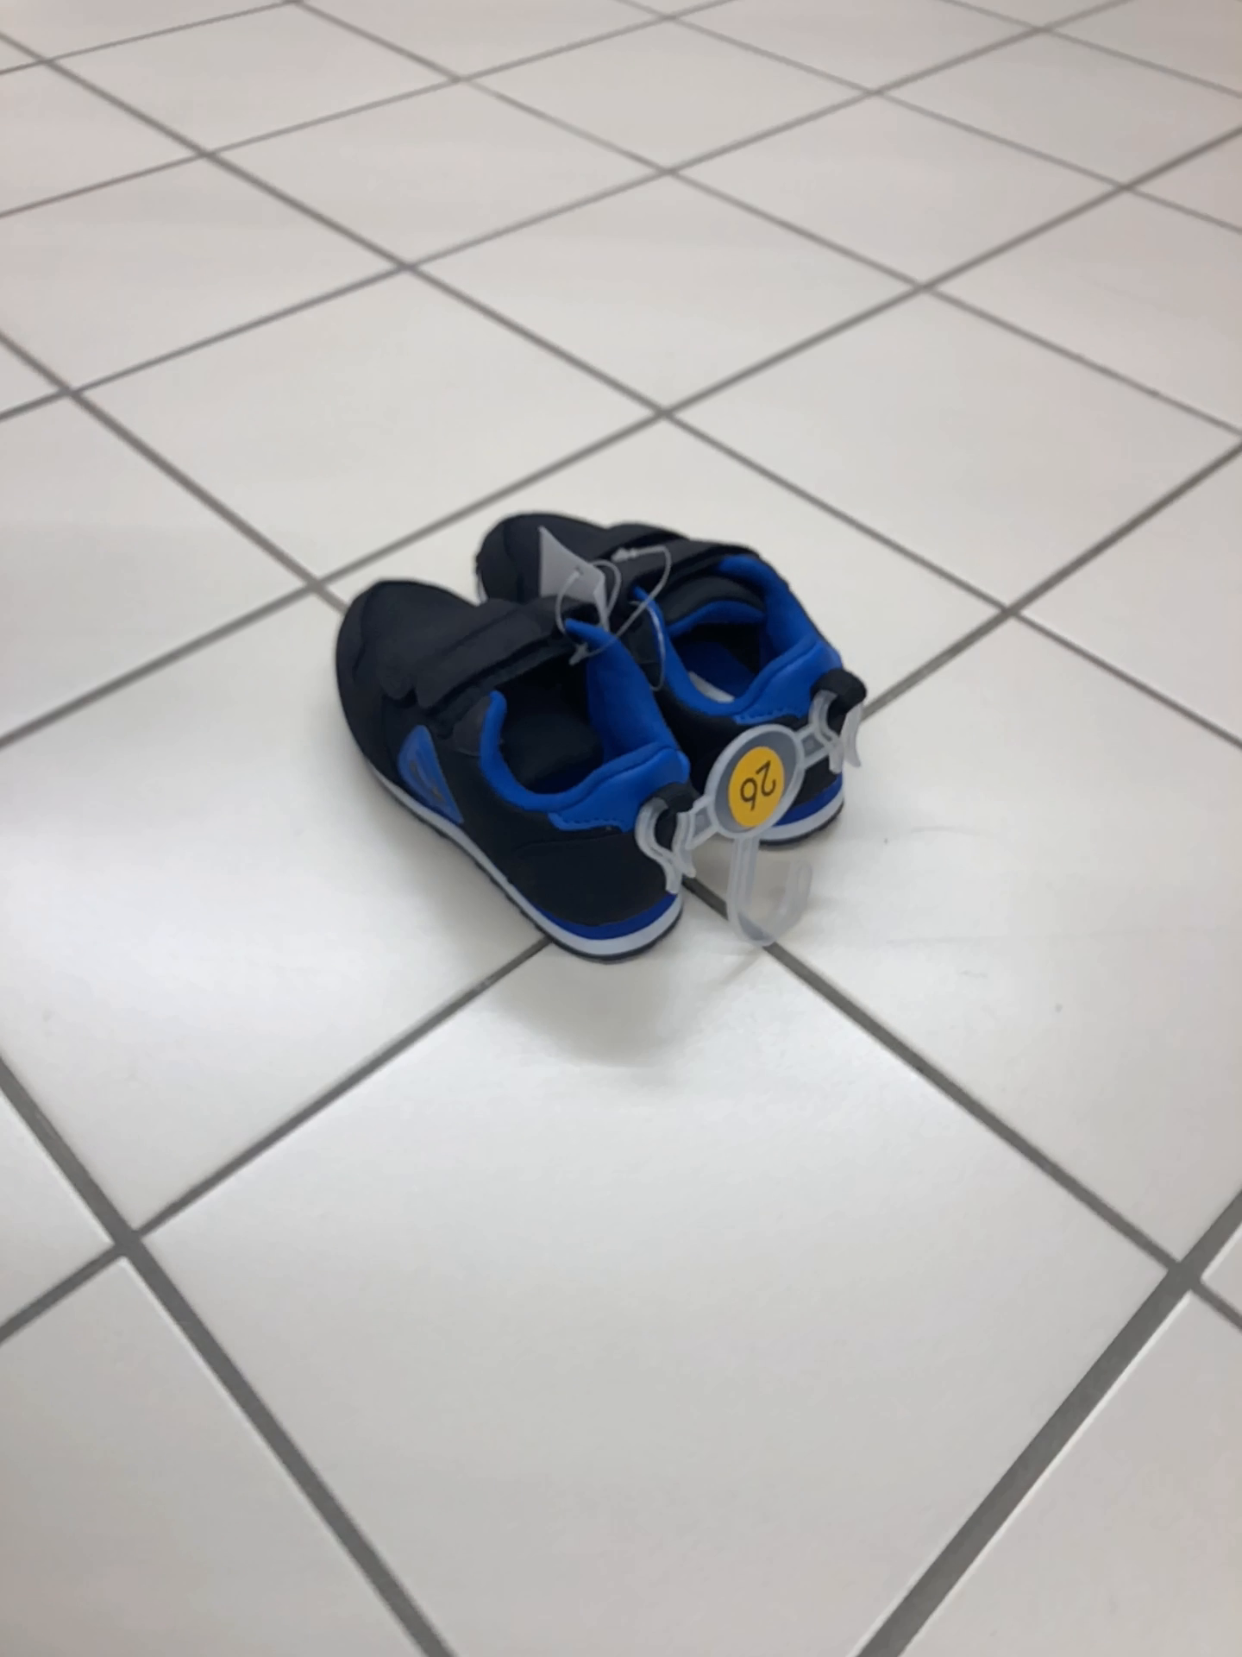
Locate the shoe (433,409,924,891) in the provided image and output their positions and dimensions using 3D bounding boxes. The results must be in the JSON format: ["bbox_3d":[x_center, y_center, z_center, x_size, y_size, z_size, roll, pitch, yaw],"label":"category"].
[{"bbox_3d":[0.013,-0.070,0.491,0.067,0.073,0.174,-30,55,-27],"label":"shoe"}]

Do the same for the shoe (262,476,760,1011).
[{"bbox_3d":[-0.041,-0.035,0.456,0.067,0.073,0.174,-29,54,-26],"label":"shoe"}]
